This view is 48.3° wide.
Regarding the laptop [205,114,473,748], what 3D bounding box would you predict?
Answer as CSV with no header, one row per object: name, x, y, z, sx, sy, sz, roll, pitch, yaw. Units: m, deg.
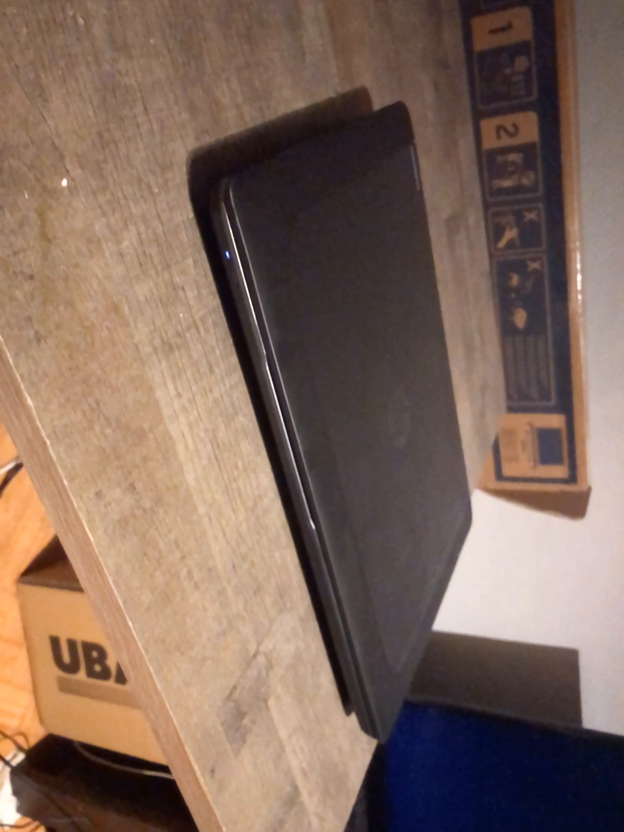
laptop,0.052,0.005,0.482,0.241,0.017,0.366,-51,133,-50
